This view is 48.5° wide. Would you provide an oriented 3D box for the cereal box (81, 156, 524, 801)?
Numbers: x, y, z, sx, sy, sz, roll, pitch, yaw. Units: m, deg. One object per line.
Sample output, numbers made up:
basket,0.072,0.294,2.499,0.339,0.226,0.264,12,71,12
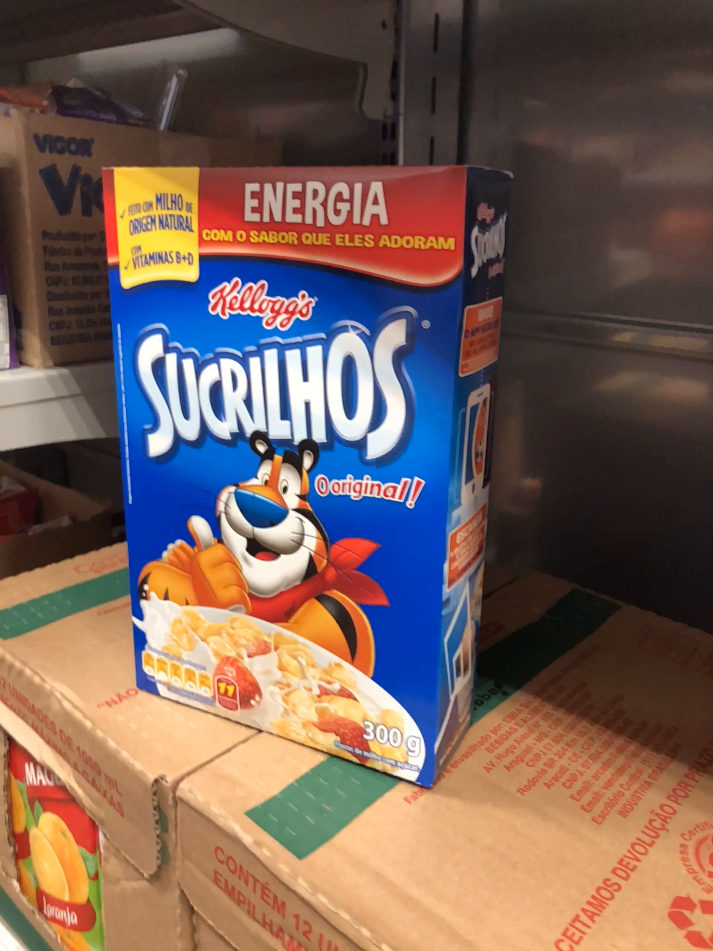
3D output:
cereal box,-0.025,-0.005,0.353,0.170,0.249,0.060,9,20,26
